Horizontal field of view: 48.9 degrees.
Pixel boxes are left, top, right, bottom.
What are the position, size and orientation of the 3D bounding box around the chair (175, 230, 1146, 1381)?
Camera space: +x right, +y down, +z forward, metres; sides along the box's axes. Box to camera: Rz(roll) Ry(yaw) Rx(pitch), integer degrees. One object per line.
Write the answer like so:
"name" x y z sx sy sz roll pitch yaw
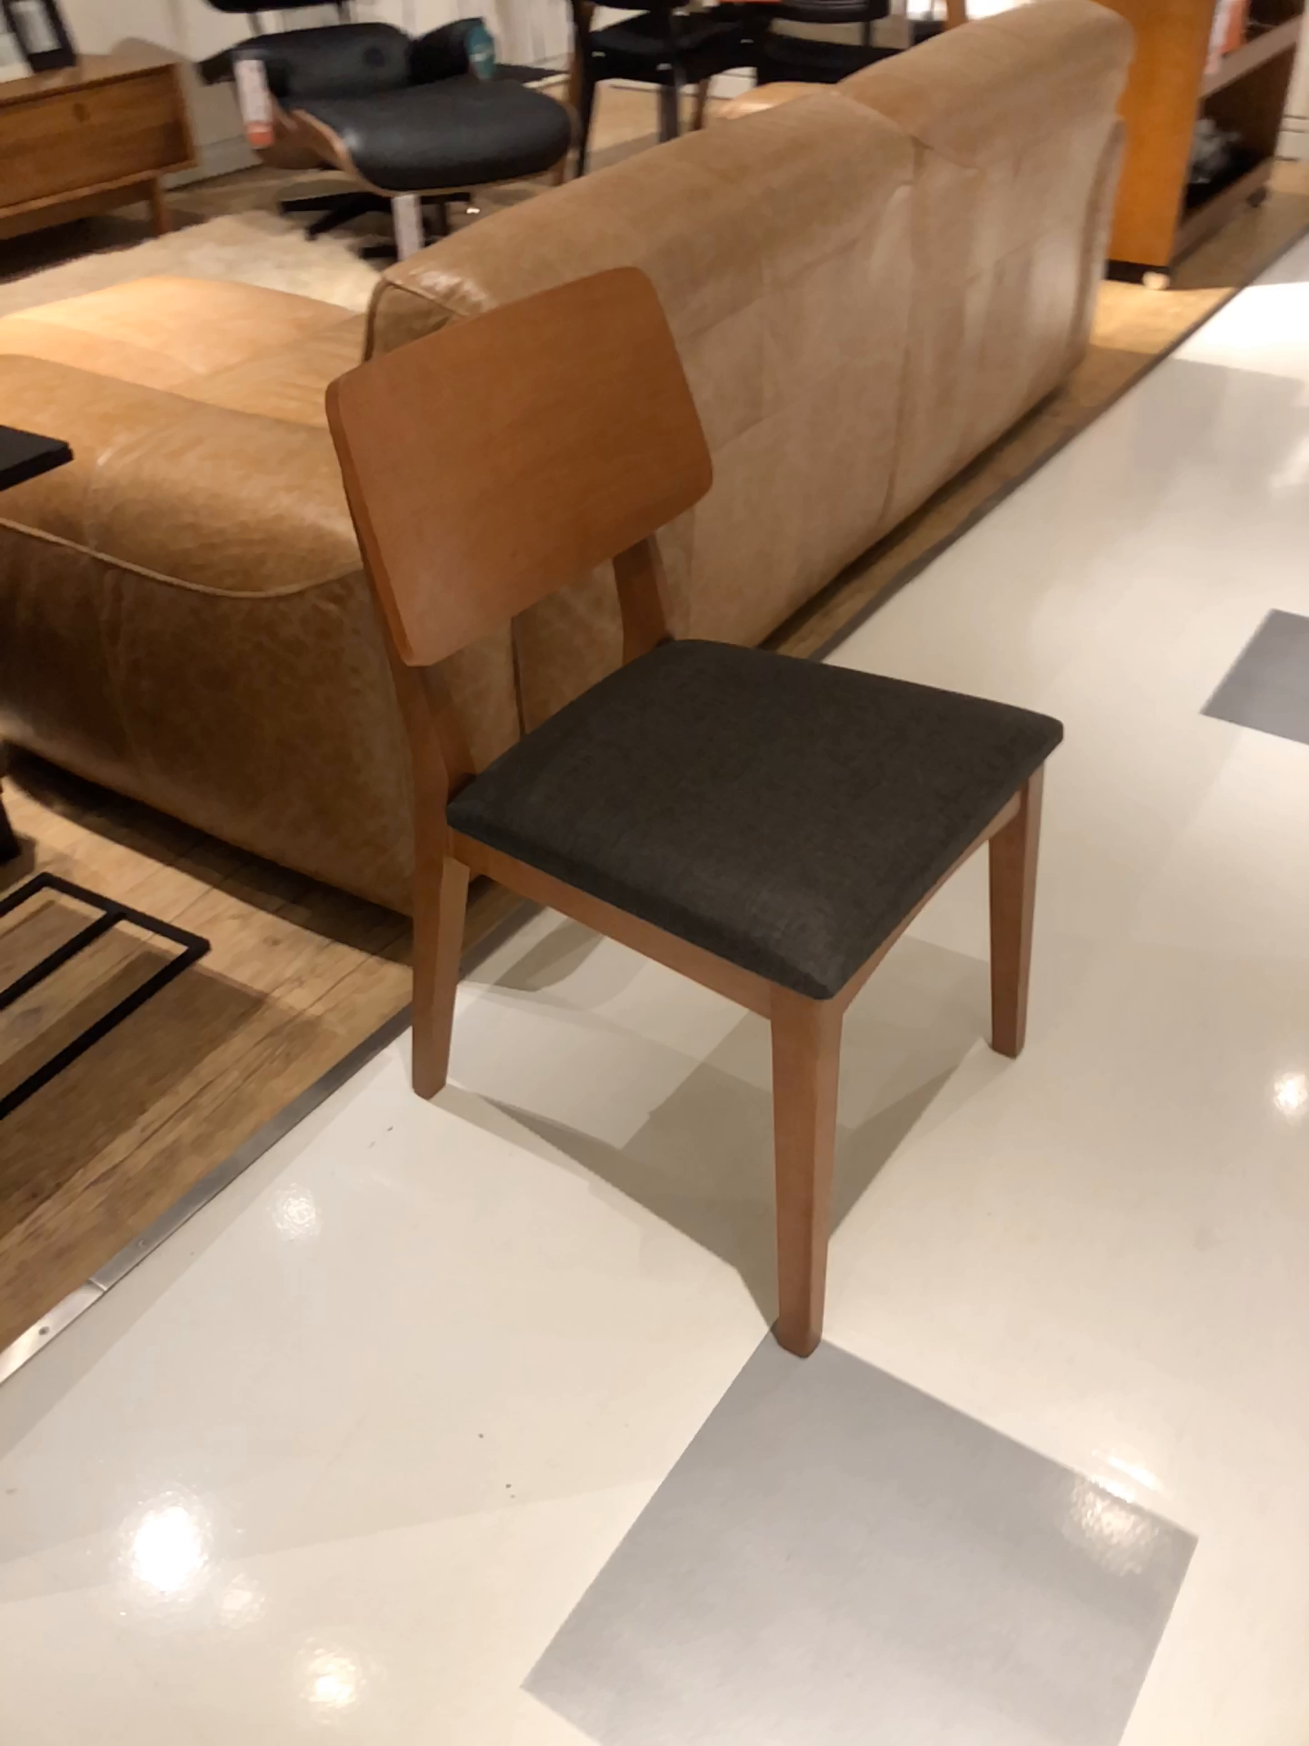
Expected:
"chair" 0.023 -0.079 1.328 0.561 0.793 0.483 22 44 27
